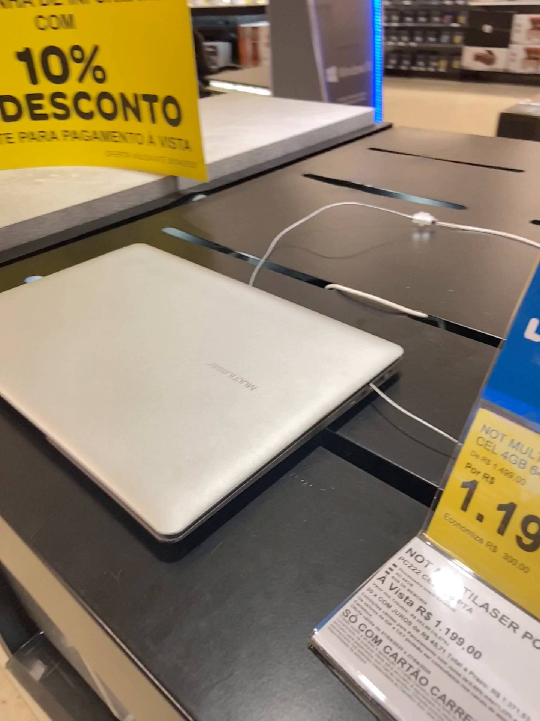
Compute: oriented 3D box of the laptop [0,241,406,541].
[{"bbox_3d":[-0.092,-0.018,0.413,0.315,0.003,0.205,26,44,36],"label":"laptop"}]
